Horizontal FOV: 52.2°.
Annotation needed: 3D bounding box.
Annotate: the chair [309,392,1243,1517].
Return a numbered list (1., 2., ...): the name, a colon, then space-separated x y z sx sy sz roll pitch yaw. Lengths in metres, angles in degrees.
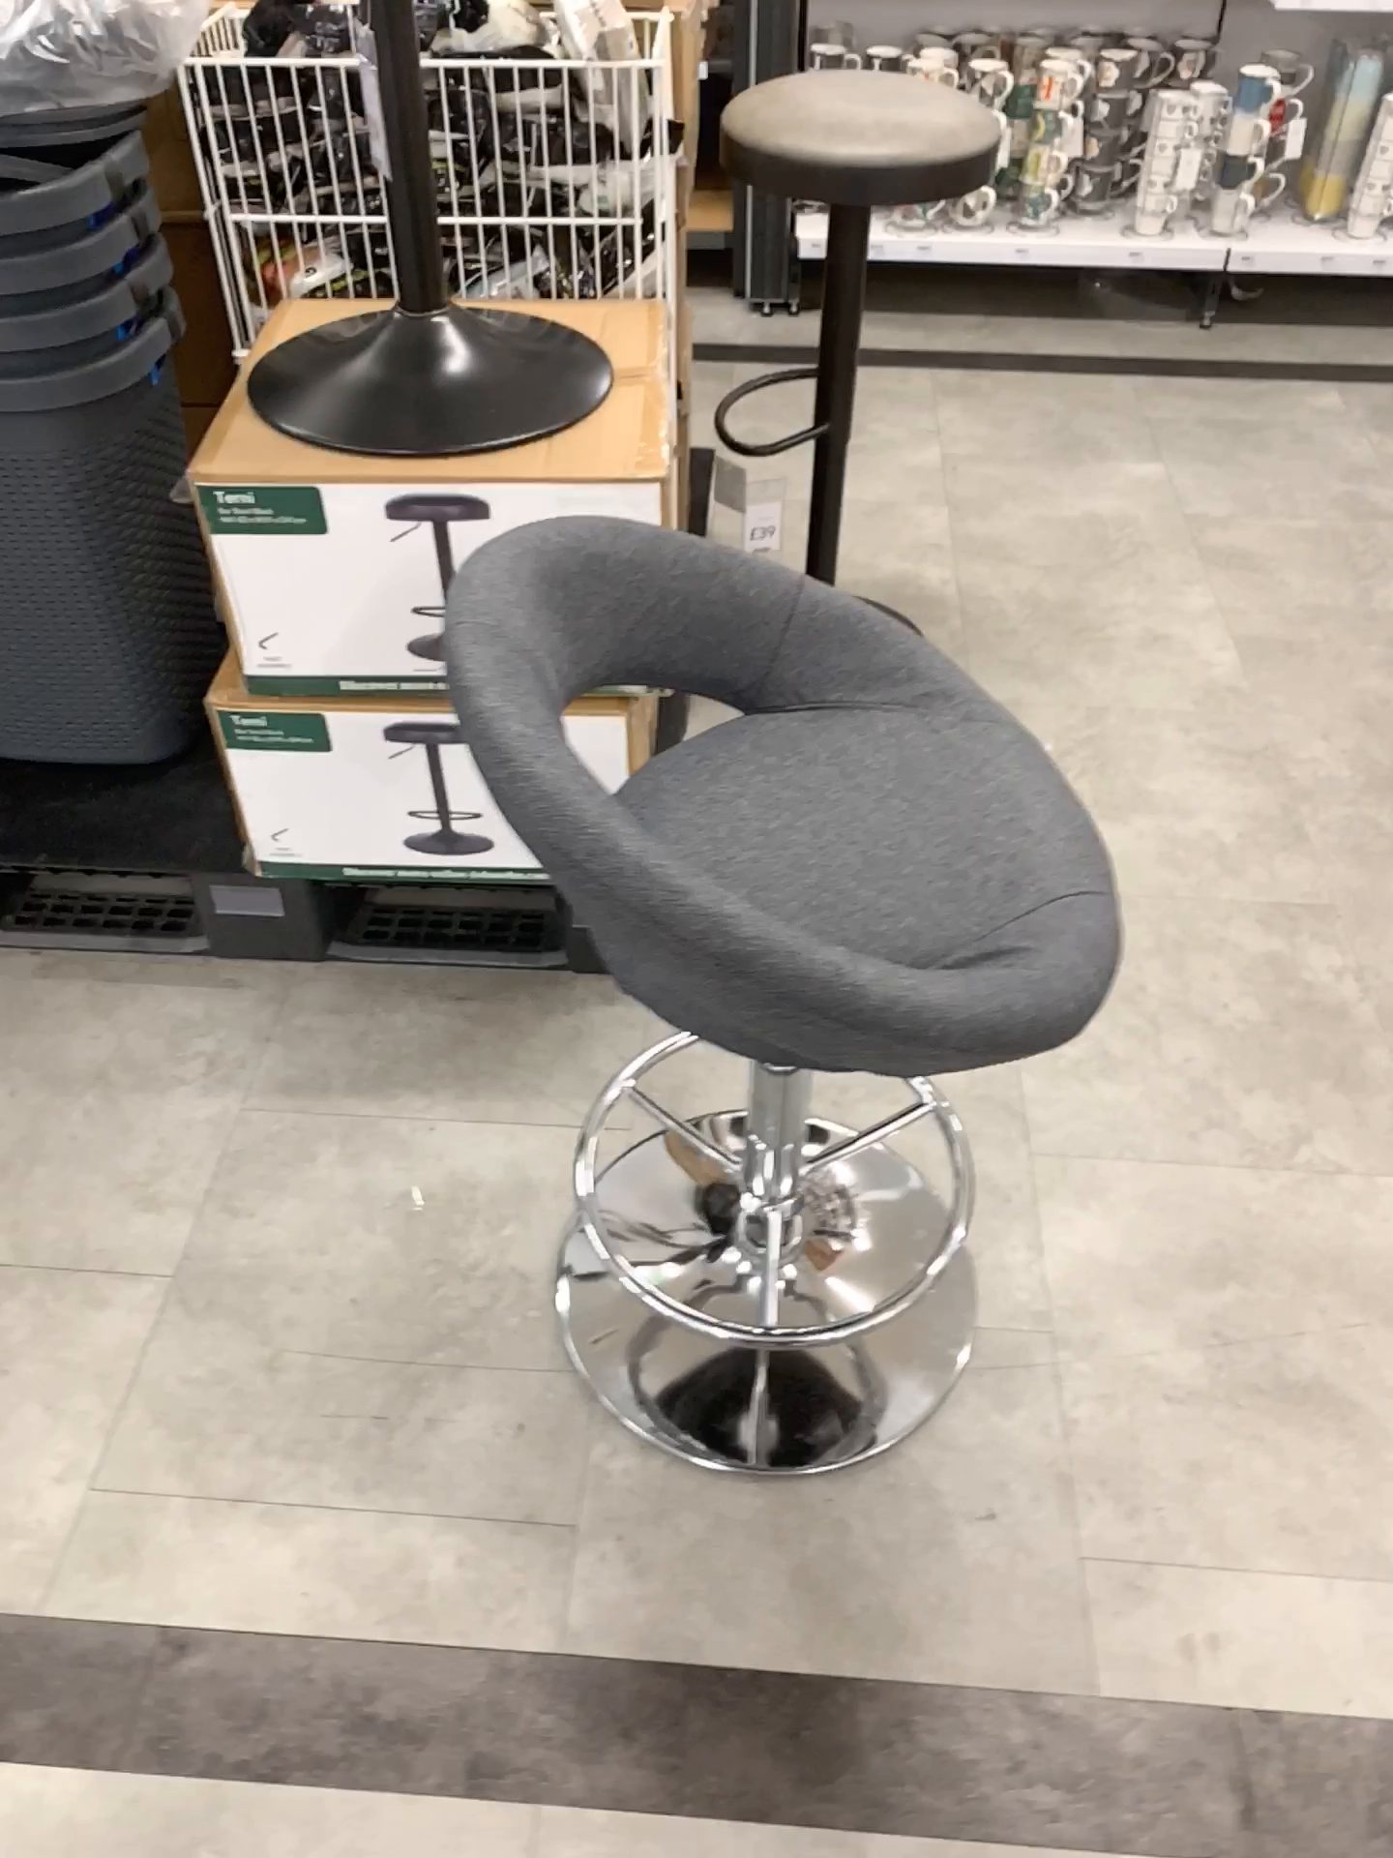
1. chair: 0.037 0.045 1.206 0.485 0.787 0.552 0 43 -1
